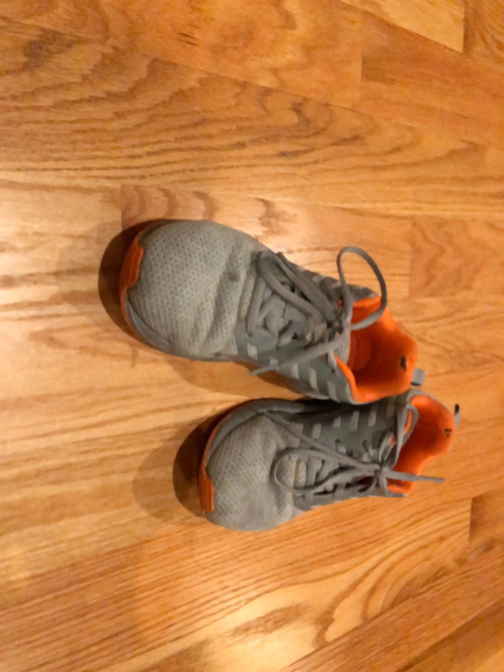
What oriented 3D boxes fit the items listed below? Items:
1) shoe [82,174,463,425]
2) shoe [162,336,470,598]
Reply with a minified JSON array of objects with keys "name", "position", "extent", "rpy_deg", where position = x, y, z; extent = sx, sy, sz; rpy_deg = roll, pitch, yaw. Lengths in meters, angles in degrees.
[{"name":"shoe","position":[0.029,-0.012,0.397],"extent":[0.251,0.100,0.100],"rpy_deg":[16,86,-38]},{"name":"shoe","position":[0.065,0.081,0.440],"extent":[0.251,0.080,0.110],"rpy_deg":[-13,104,-36]}]
